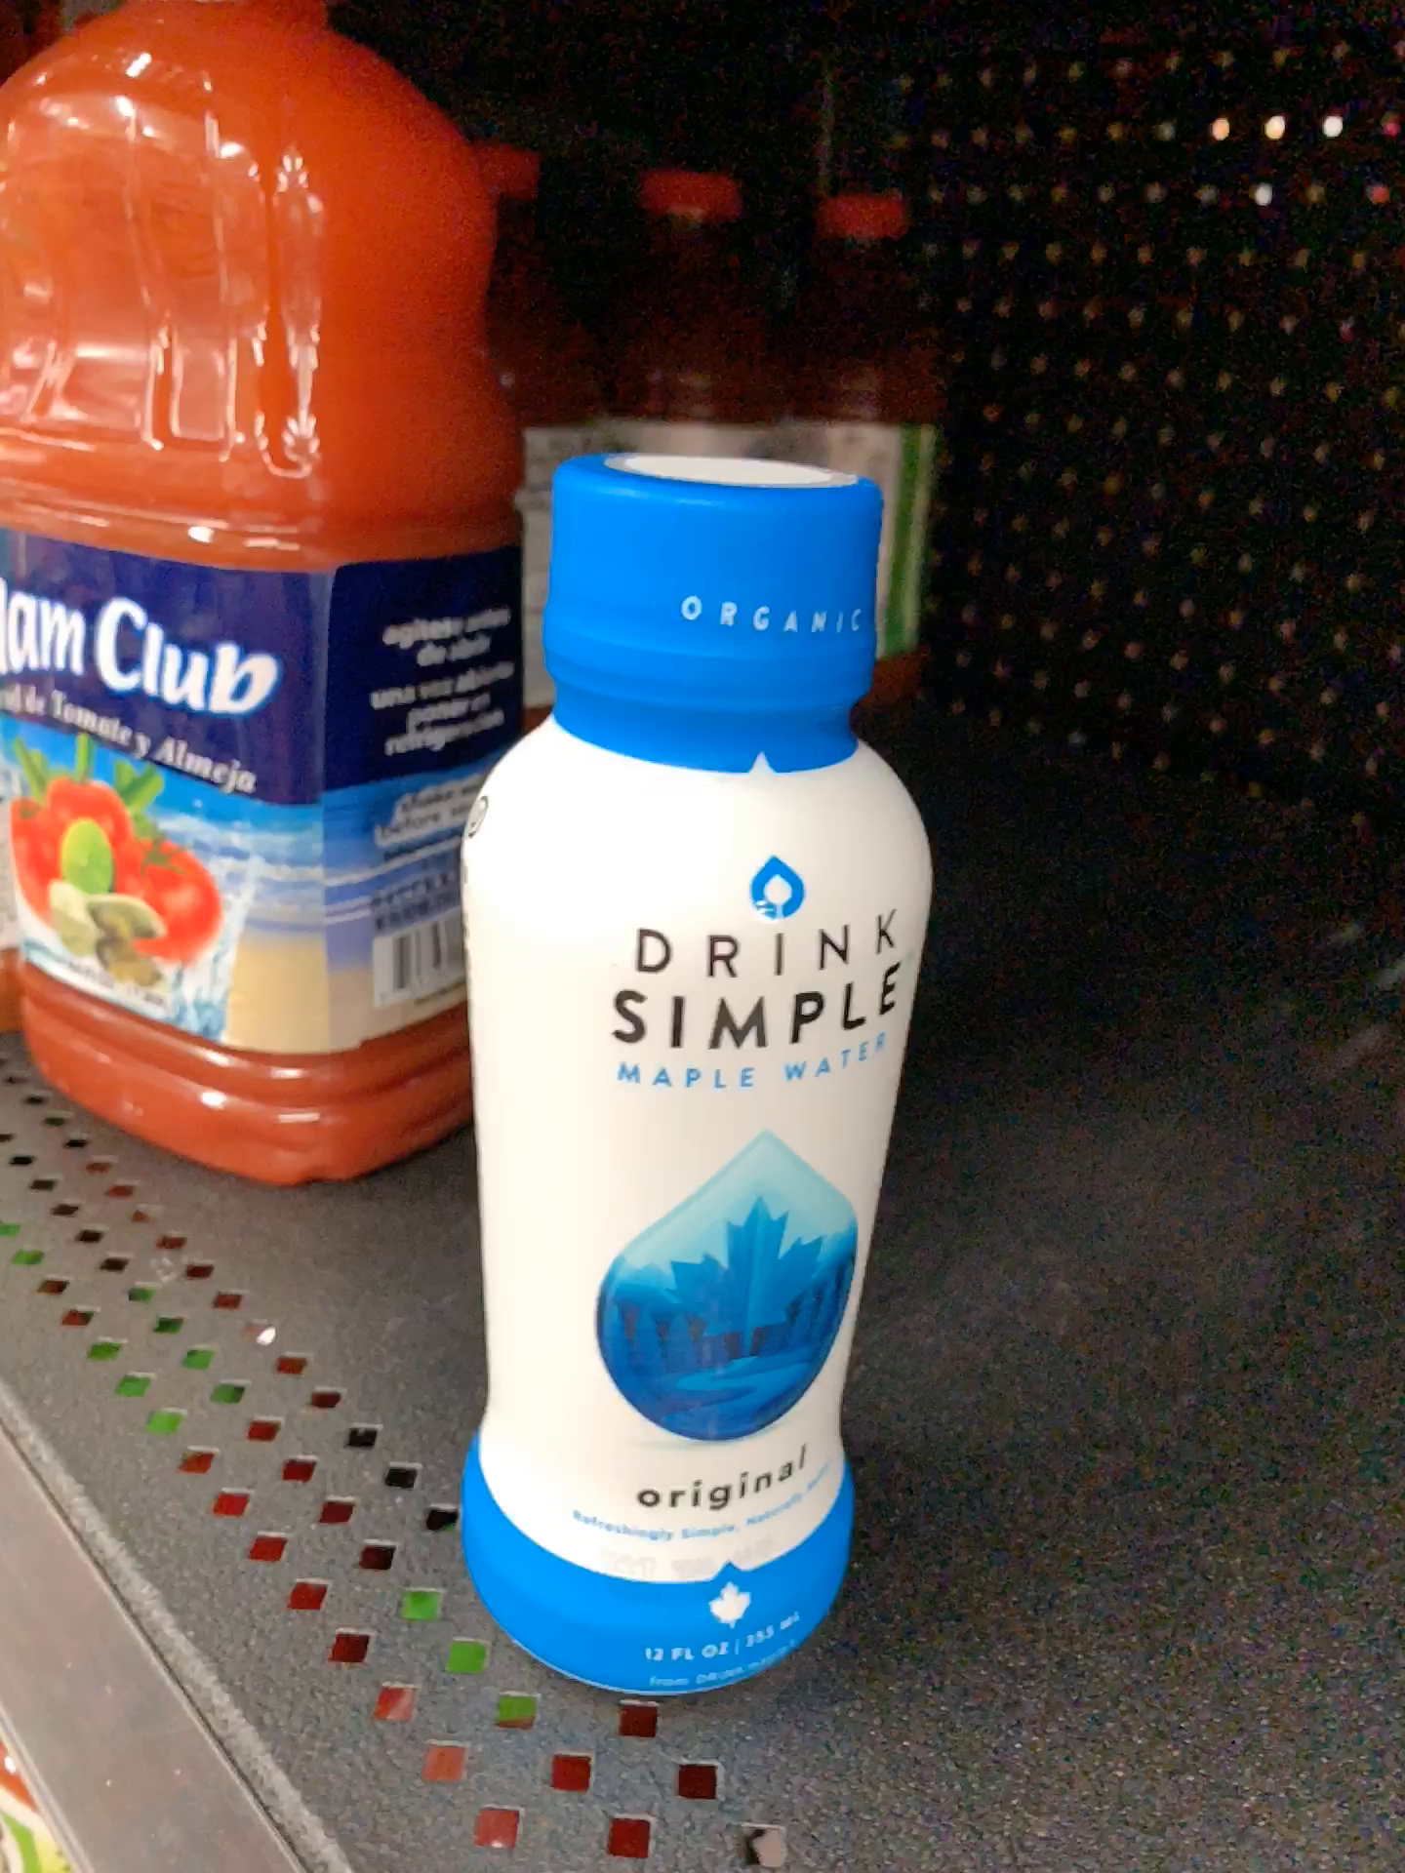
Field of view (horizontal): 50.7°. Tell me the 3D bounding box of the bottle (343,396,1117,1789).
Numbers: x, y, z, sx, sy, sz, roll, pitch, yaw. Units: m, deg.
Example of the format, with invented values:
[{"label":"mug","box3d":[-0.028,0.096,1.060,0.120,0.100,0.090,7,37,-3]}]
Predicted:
[{"label":"bottle","box3d":[-0.005,0.020,0.202,0.070,0.169,0.066,2,24,-1]}]
